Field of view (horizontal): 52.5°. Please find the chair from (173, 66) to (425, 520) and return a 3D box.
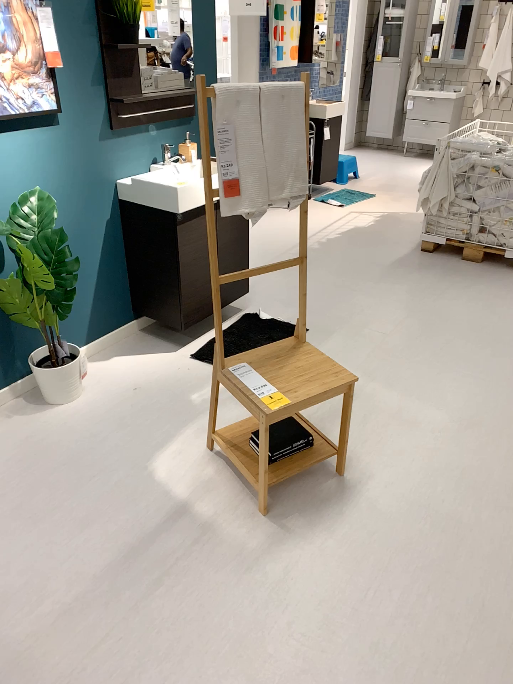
[{"bbox_3d":[0.090,-0.138,1.666,0.461,1.294,0.472,-17,34,-28],"label":"chair"}]
